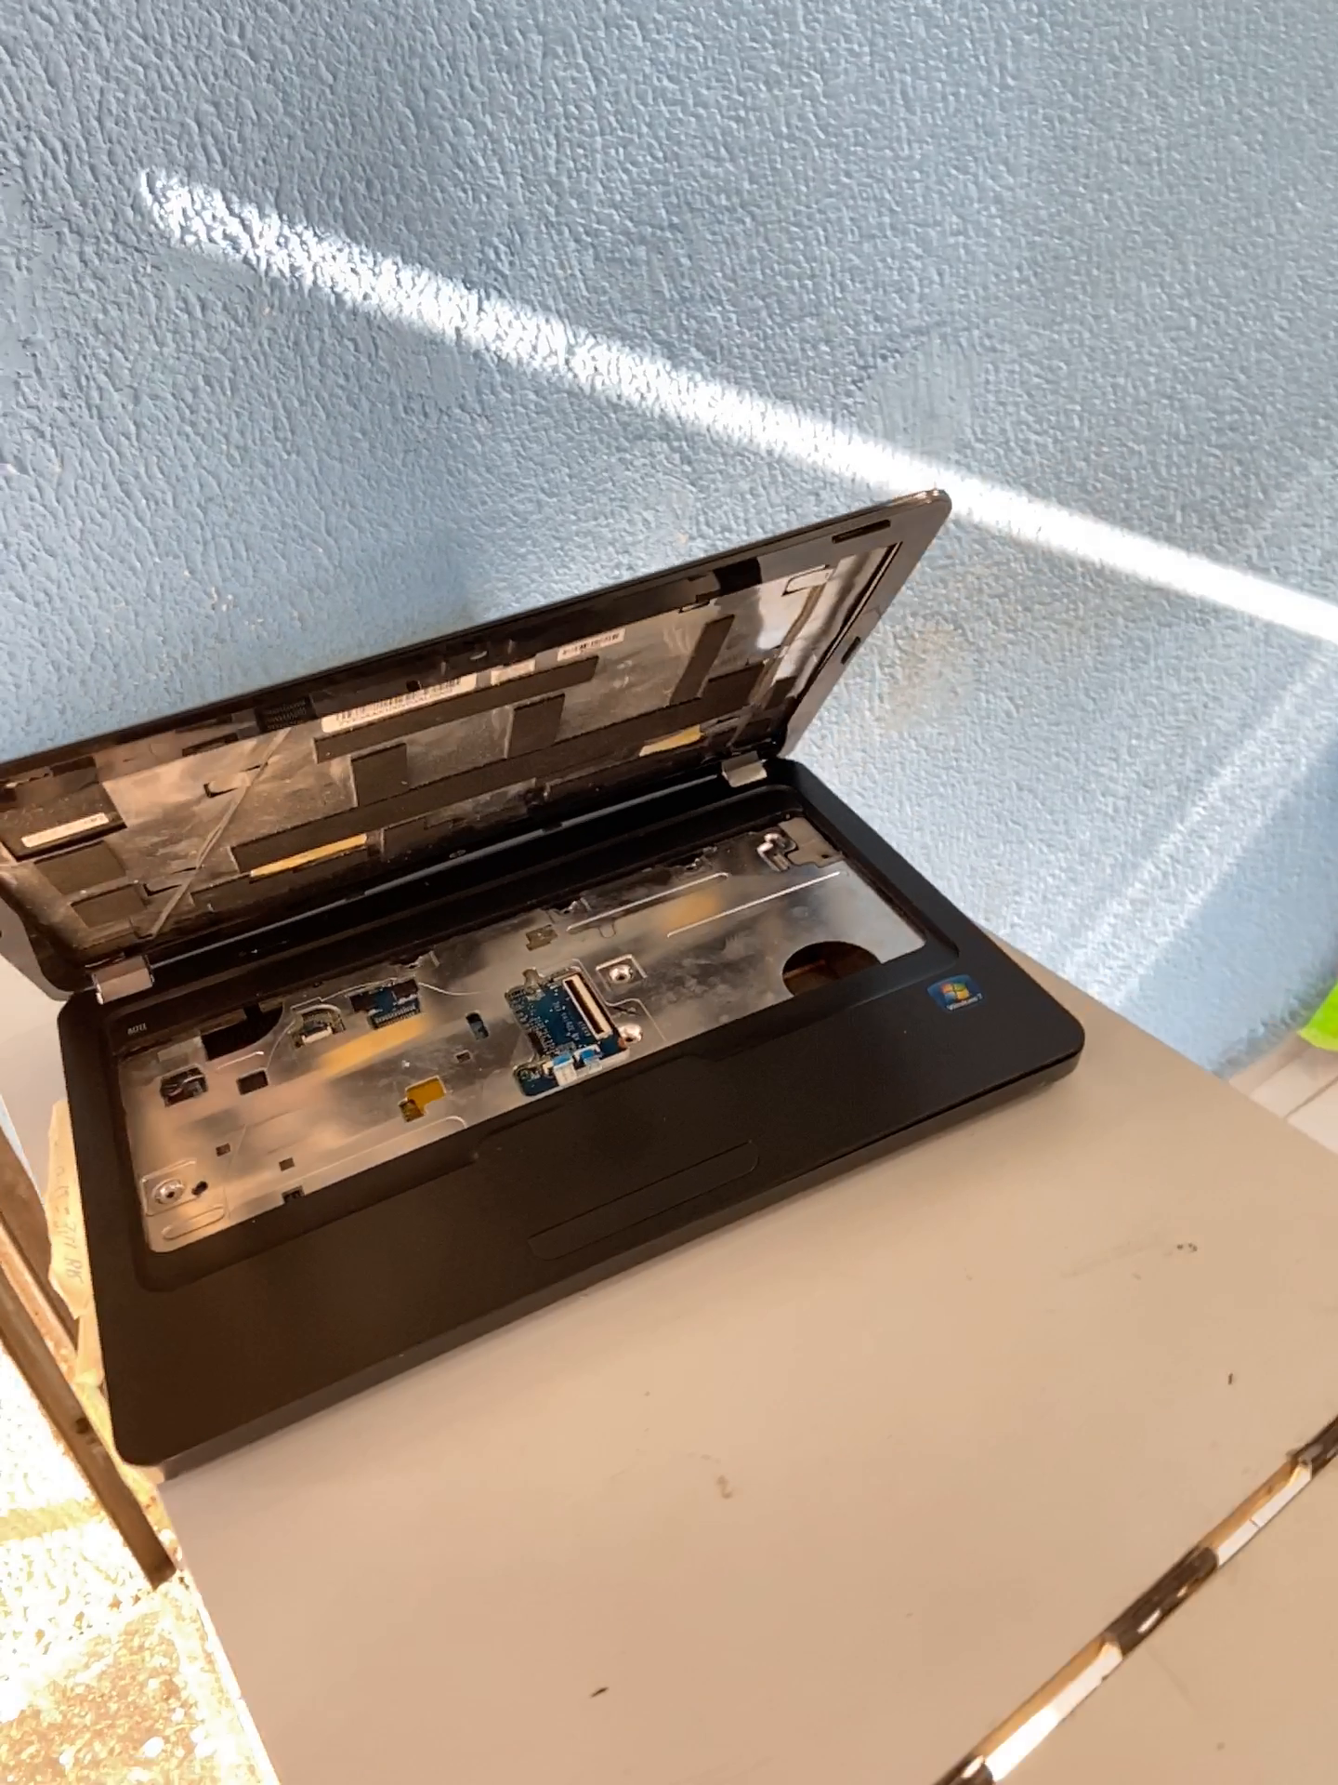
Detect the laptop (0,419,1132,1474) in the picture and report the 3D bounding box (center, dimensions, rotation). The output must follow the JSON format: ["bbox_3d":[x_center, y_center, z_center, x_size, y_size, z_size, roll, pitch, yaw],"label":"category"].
[{"bbox_3d":[-0.056,-0.016,0.459,0.327,0.153,0.223,-20,38,-16],"label":"laptop"}]
